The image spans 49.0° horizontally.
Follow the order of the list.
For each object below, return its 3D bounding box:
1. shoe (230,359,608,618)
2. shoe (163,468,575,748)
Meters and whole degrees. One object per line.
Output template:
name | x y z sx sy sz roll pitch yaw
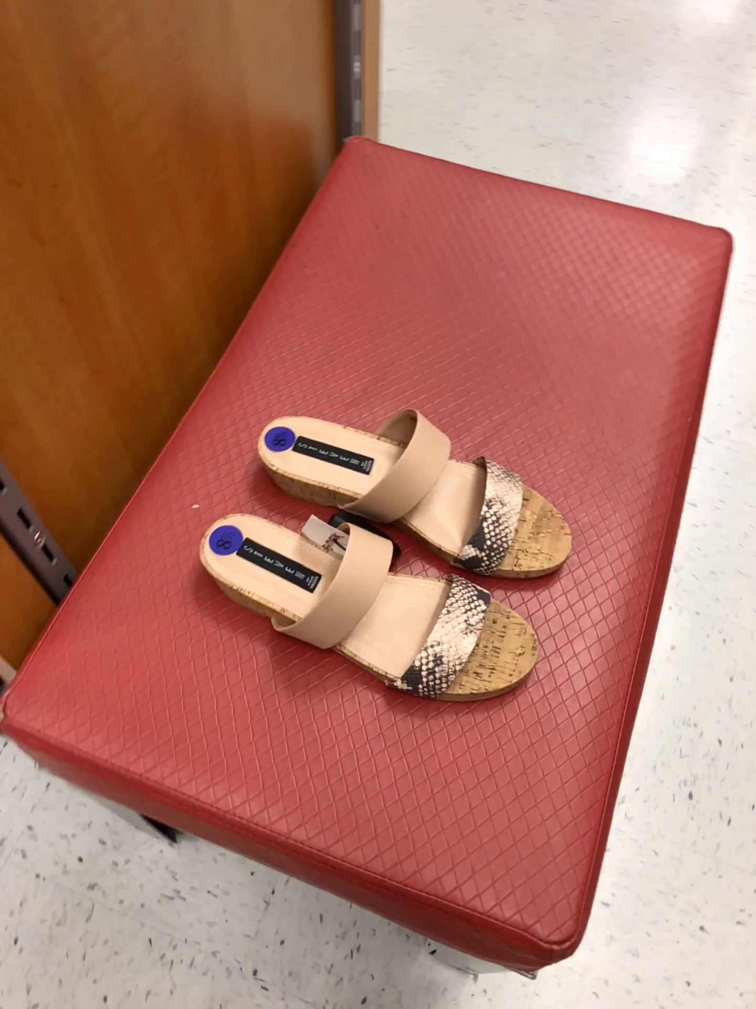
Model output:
shoe | 0.030 -0.014 0.639 0.257 0.085 0.096 18 60 10
shoe | -0.006 0.072 0.588 0.257 0.085 0.095 17 60 10
